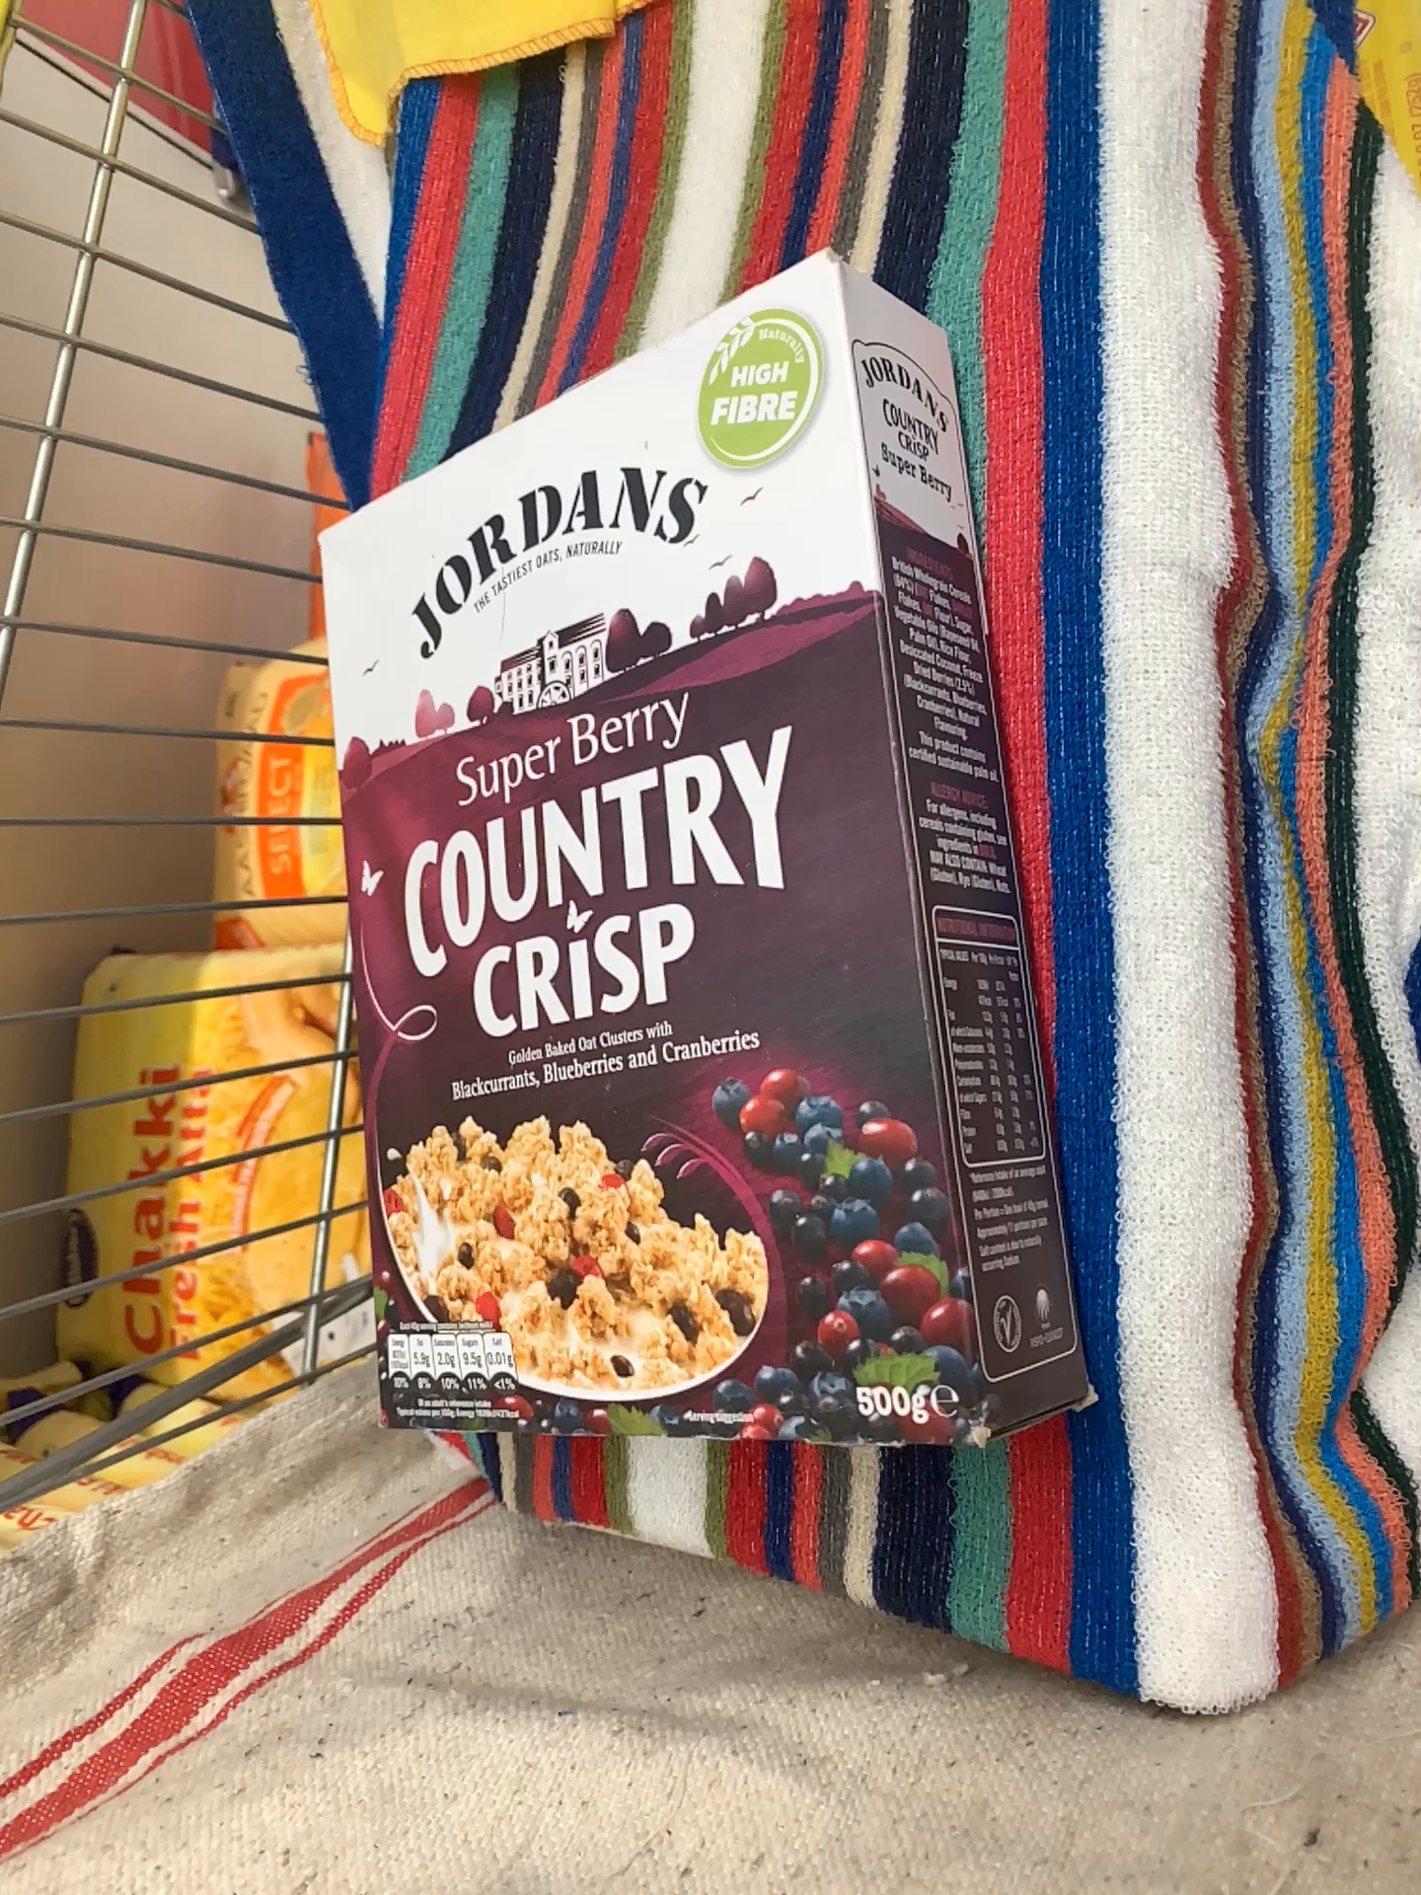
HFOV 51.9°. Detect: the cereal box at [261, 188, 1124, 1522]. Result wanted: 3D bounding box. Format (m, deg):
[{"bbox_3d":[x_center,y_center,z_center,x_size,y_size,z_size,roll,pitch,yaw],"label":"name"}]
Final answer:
[{"bbox_3d":[-0.020,-0.007,0.335,0.181,0.060,0.240,-13,78,39],"label":"cereal box"}]
